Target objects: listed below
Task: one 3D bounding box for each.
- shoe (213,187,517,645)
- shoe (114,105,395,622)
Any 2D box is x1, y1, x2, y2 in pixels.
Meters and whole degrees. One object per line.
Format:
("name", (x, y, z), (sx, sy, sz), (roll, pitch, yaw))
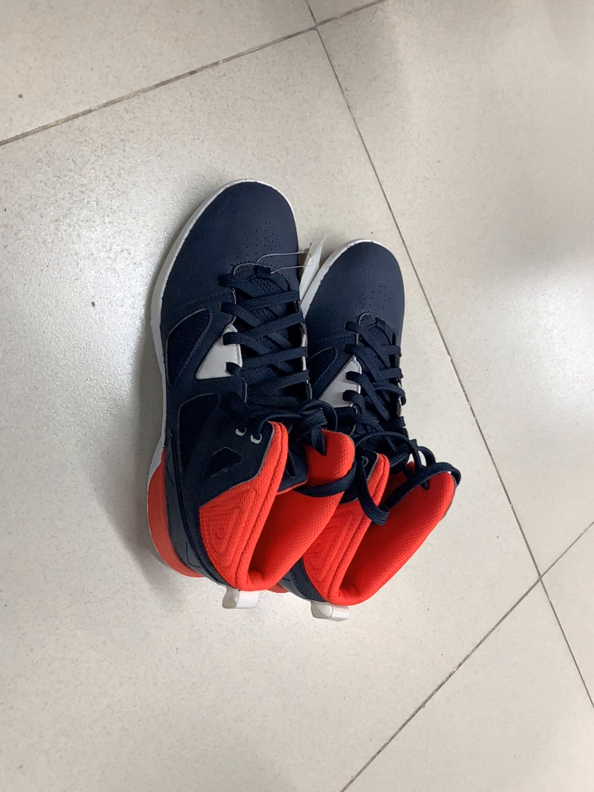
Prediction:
("shoe", (0.048, 0.016, 0.461), (0.110, 0.120, 0.290), (19, 84, -29))
("shoe", (-0.032, -0.014, 0.406), (0.110, 0.100, 0.290), (10, 88, -29))
